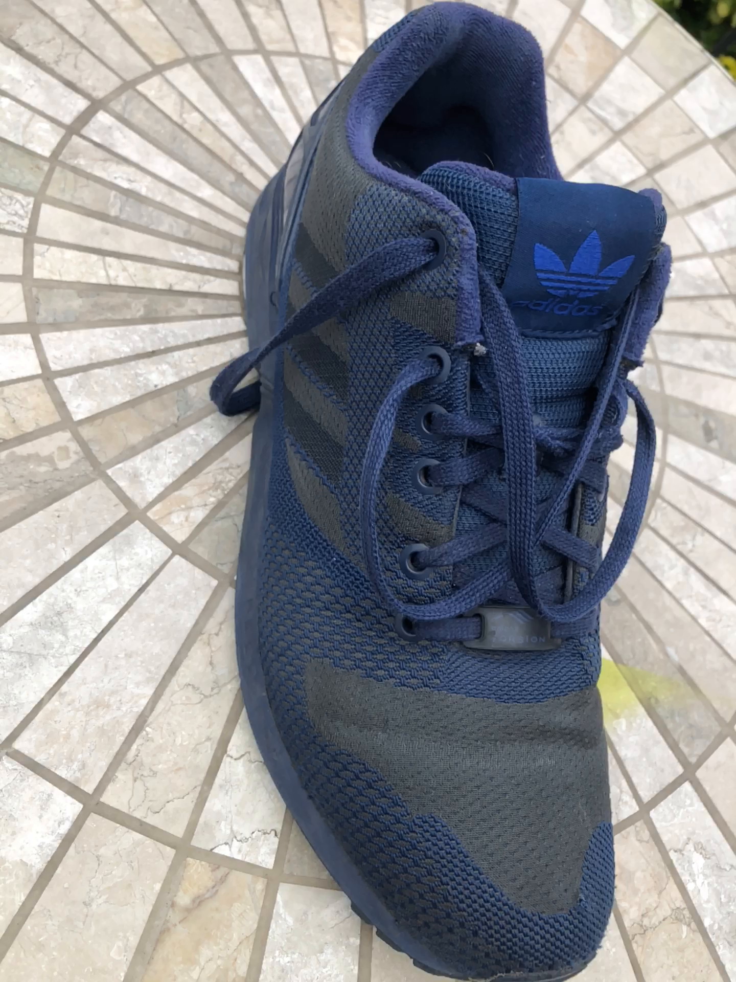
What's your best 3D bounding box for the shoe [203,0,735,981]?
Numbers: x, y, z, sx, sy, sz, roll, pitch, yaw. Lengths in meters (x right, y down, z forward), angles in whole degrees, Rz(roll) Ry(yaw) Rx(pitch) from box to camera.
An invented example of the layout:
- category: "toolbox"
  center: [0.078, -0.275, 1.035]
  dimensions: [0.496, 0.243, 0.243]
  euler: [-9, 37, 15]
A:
- category: "shoe"
  center: [0.023, -0.007, 0.245]
  dimensions: [0.110, 0.109, 0.281]
  euler: [3, 67, -24]
